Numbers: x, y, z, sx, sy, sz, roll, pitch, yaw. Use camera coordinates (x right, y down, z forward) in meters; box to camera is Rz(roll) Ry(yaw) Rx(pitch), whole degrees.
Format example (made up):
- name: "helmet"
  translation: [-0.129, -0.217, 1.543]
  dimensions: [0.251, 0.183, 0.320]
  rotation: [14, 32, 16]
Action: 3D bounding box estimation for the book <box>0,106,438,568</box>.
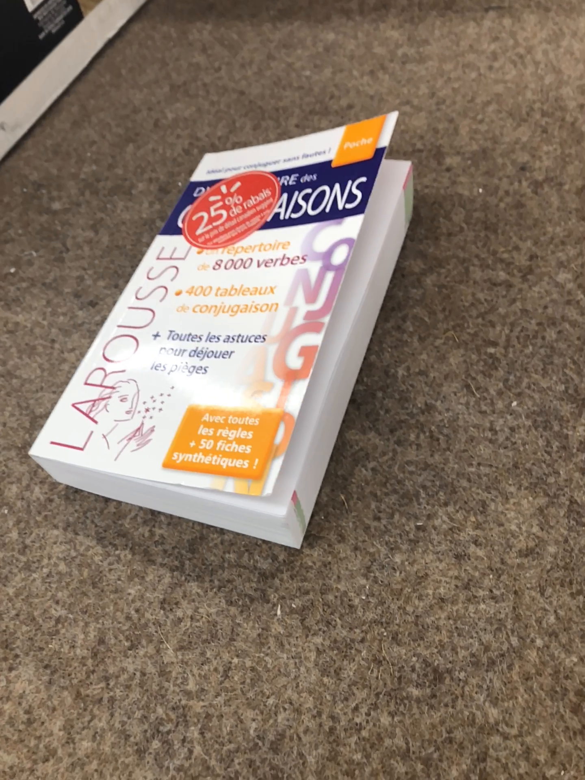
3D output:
- name: "book"
  translation: [-0.019, -0.039, 0.297]
  dimensions: [0.124, 0.059, 0.200]
  rotation: [8, 60, 23]
